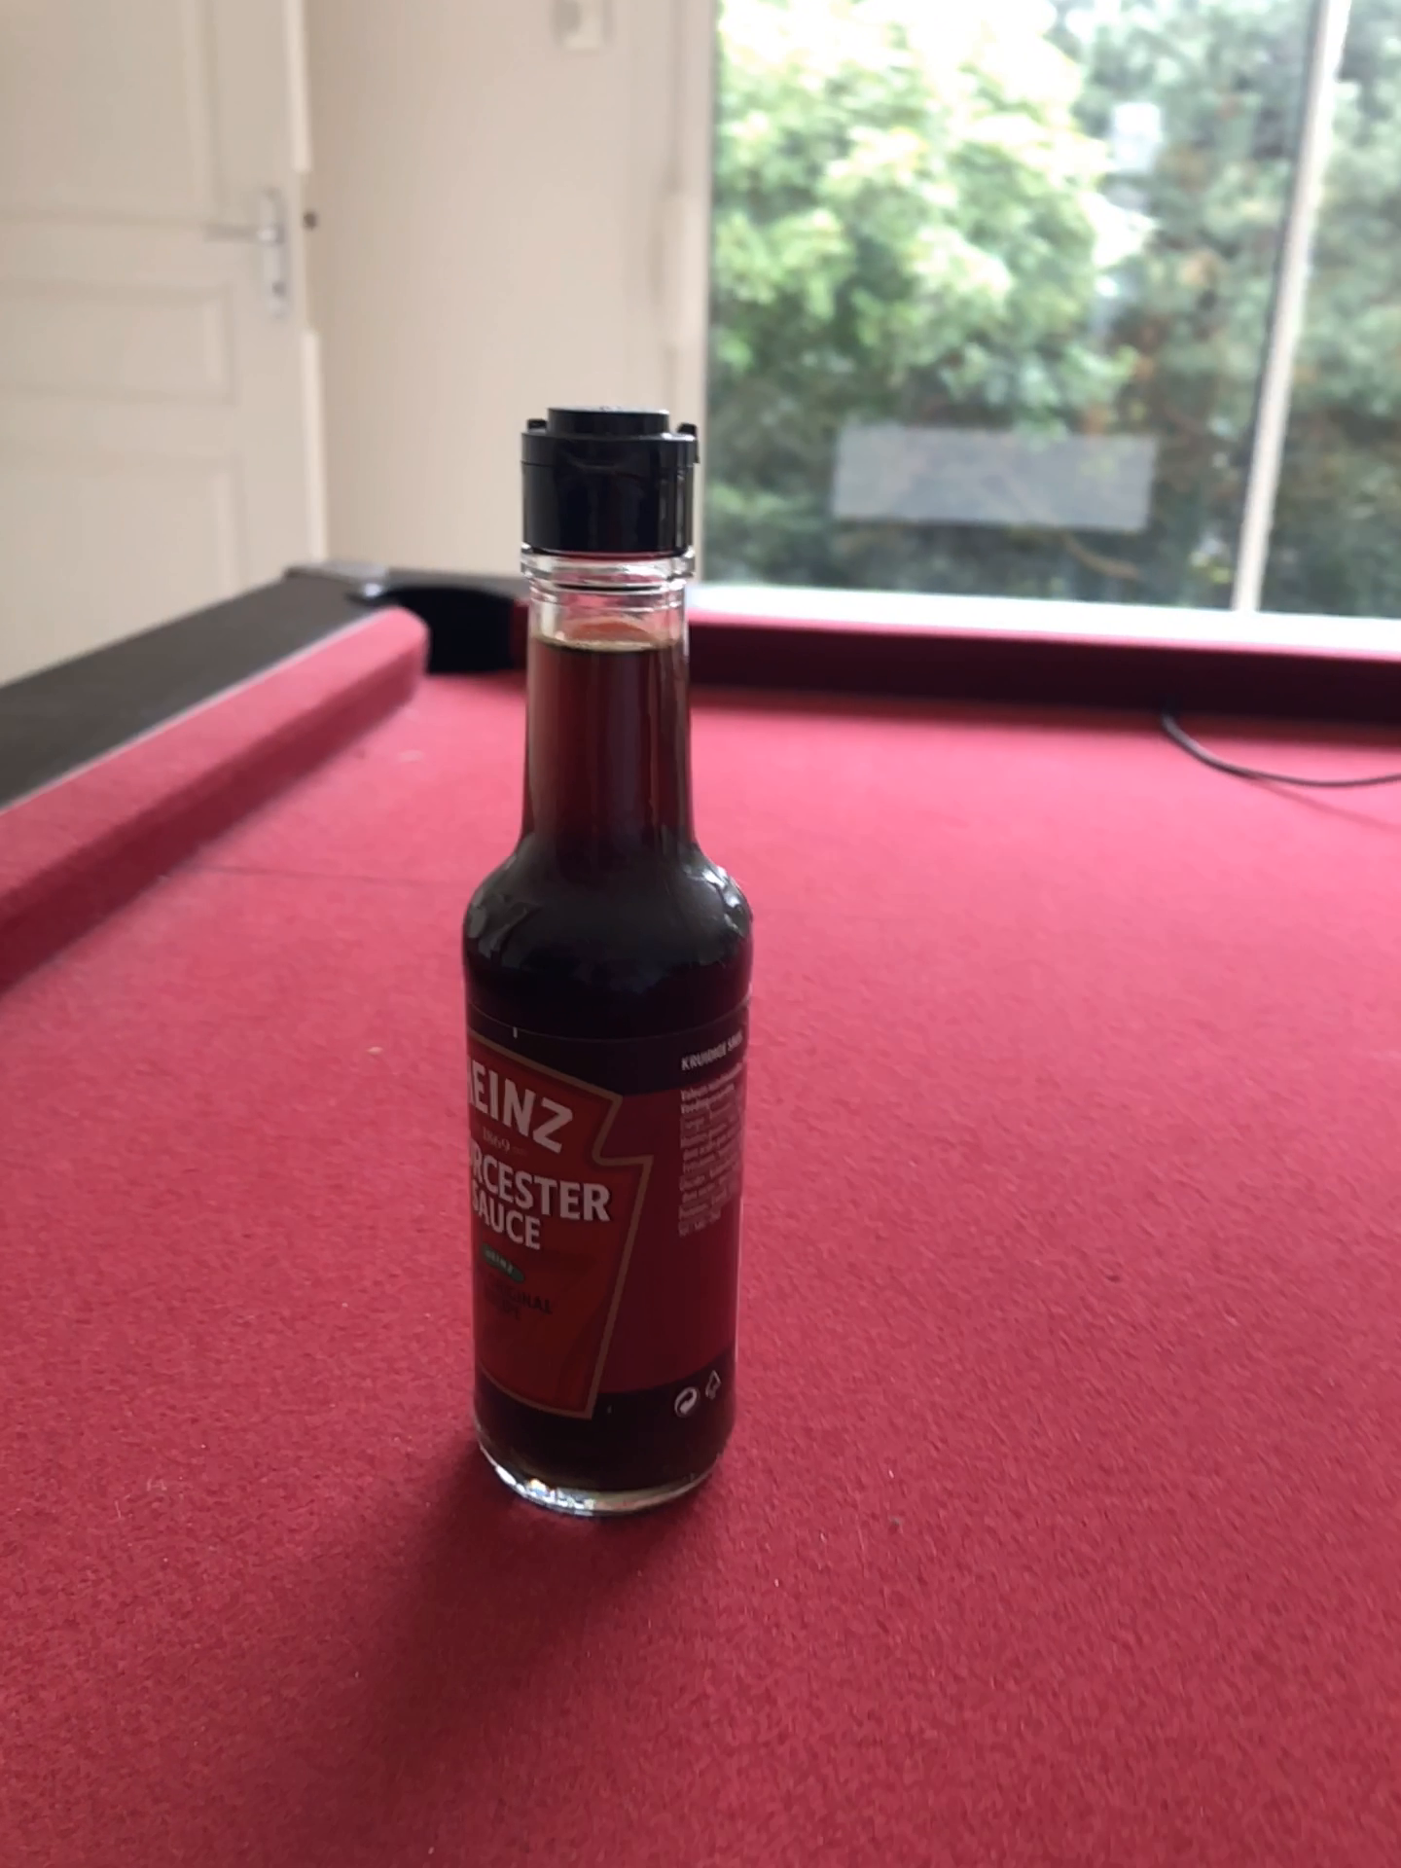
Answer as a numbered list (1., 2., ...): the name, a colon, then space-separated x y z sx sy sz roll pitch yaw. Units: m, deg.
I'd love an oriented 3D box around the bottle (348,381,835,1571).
1. bottle: -0.019 0.006 0.255 0.050 0.179 0.050 2 19 -1
